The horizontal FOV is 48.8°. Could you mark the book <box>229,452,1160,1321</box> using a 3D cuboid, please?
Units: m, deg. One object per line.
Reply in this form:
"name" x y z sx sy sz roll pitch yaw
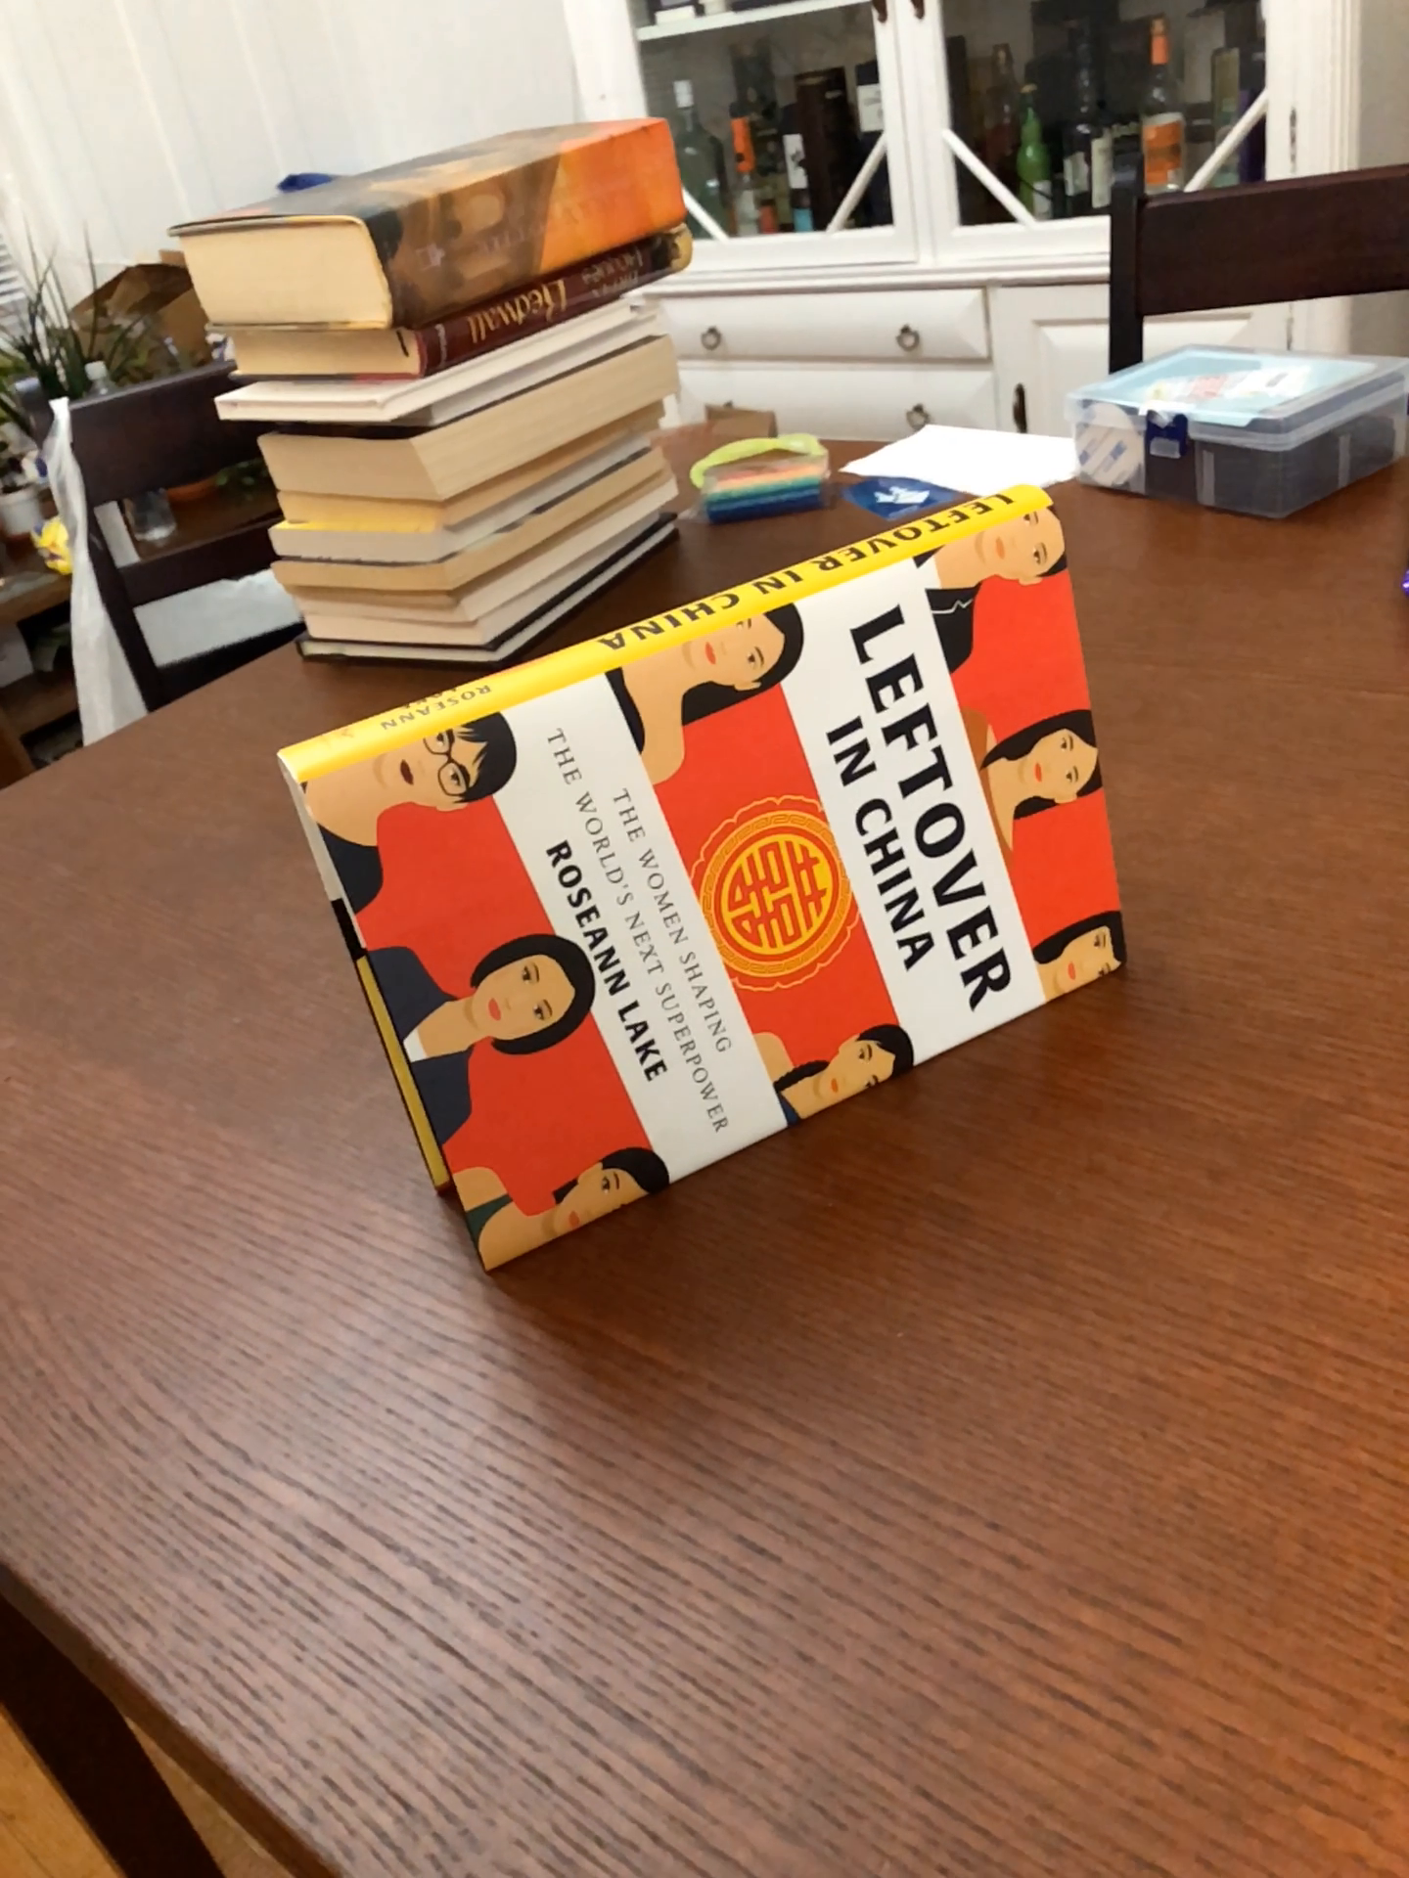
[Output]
"book" 0.014 -0.021 0.482 0.260 0.179 0.060 -23 33 -16
